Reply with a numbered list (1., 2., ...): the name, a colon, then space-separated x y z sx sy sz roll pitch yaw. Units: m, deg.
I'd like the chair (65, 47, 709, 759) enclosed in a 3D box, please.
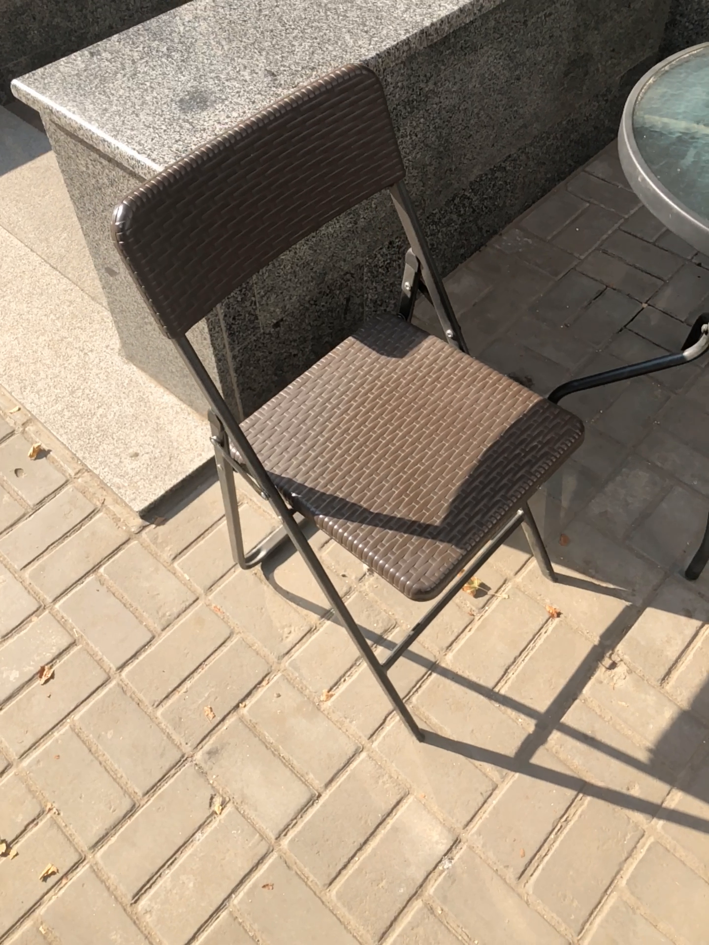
1. chair: 0.047 -0.055 1.098 0.511 0.748 0.451 35 61 24
